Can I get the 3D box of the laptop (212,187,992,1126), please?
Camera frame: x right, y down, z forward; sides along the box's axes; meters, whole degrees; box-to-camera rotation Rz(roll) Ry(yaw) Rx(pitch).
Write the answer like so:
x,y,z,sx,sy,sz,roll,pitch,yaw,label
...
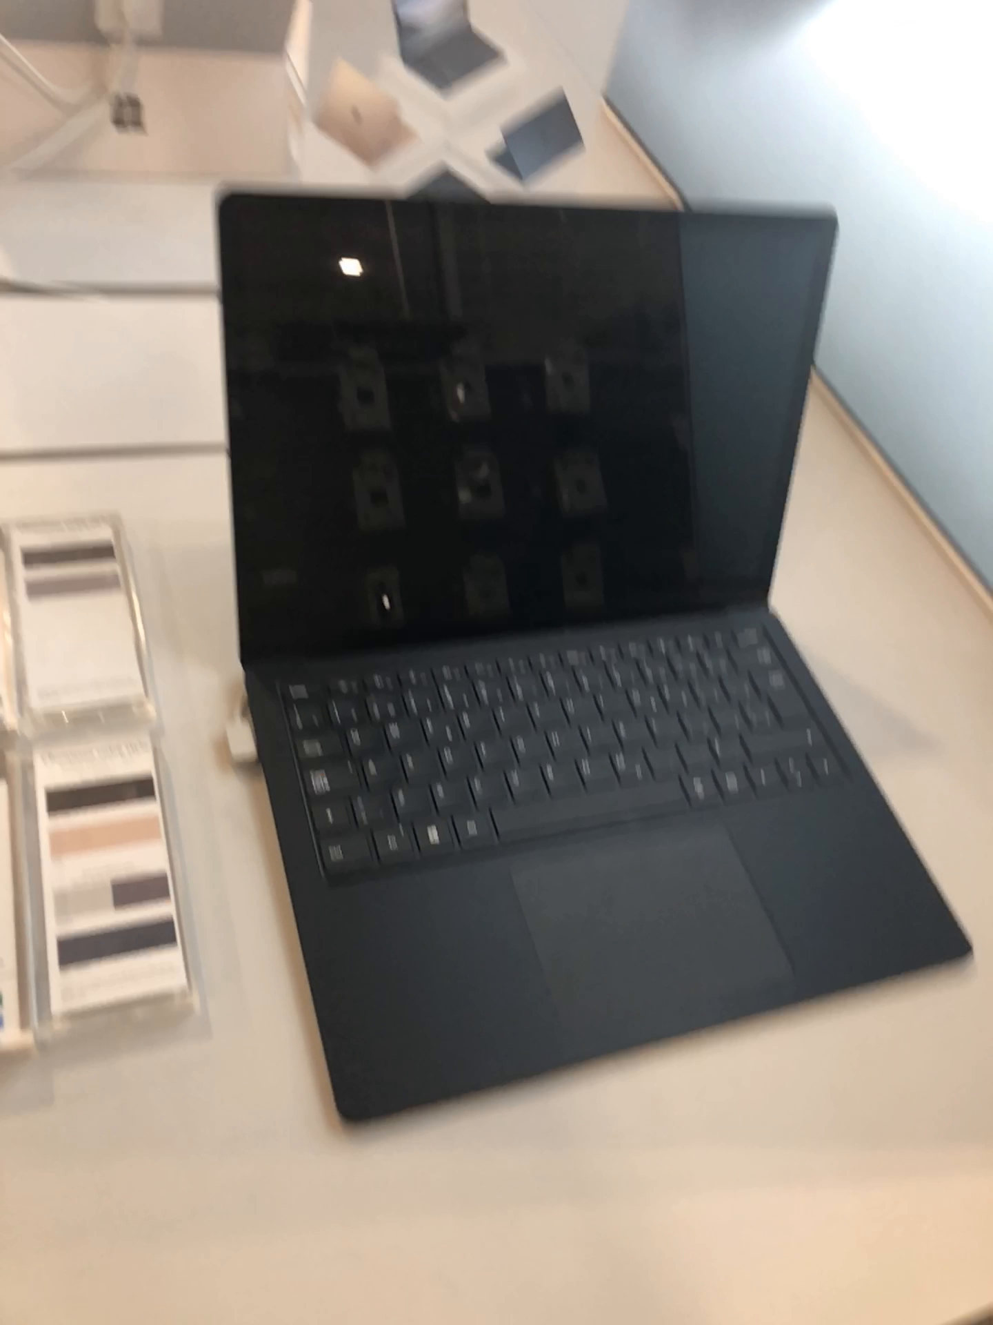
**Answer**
x,y,z,sx,sy,sz,roll,pitch,yaw,label
0.057,-0.029,0.480,0.308,0.197,0.314,-7,52,-21,laptop
